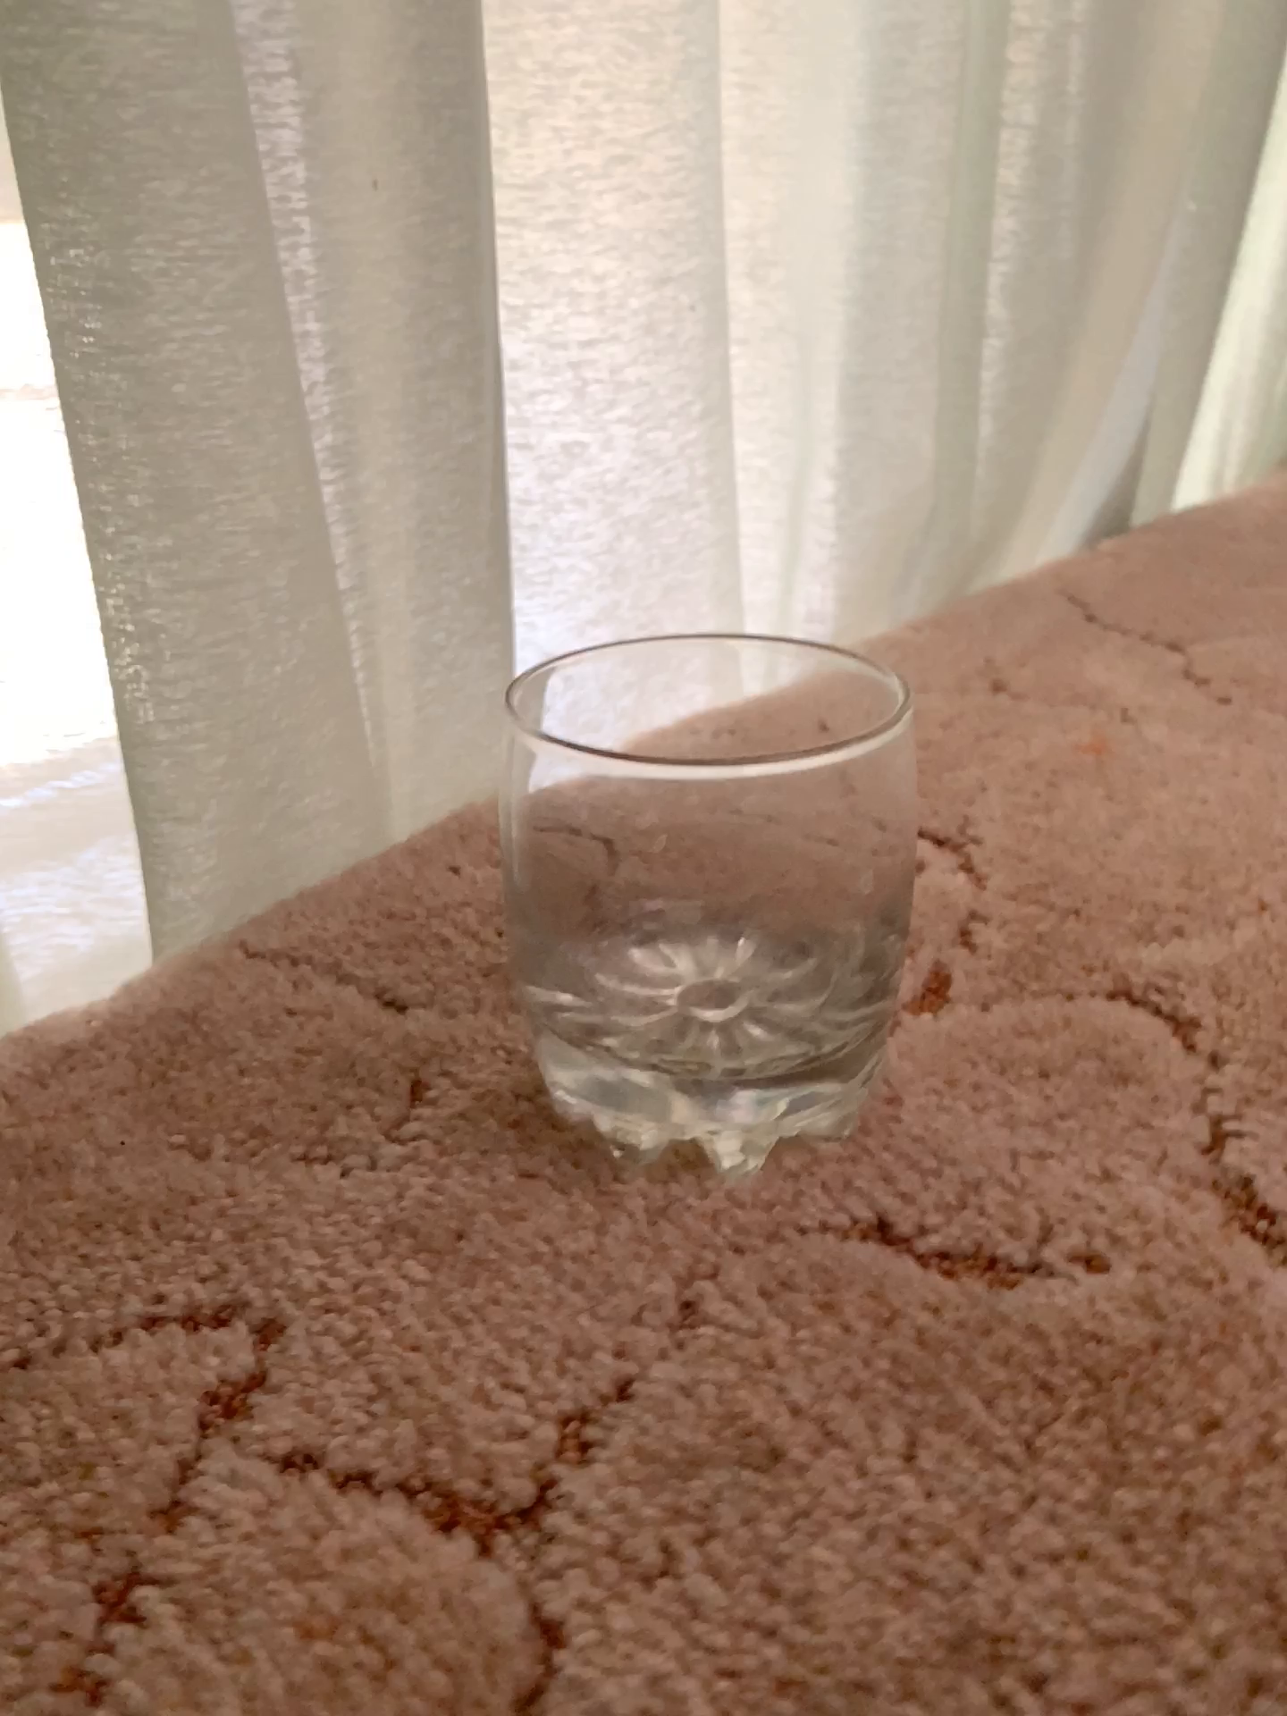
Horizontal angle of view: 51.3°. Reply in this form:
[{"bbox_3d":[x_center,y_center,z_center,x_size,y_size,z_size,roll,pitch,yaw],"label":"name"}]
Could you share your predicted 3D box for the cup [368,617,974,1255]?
[{"bbox_3d":[0.011,0.008,0.276,0.090,0.089,0.080,9,30,28],"label":"cup"}]
